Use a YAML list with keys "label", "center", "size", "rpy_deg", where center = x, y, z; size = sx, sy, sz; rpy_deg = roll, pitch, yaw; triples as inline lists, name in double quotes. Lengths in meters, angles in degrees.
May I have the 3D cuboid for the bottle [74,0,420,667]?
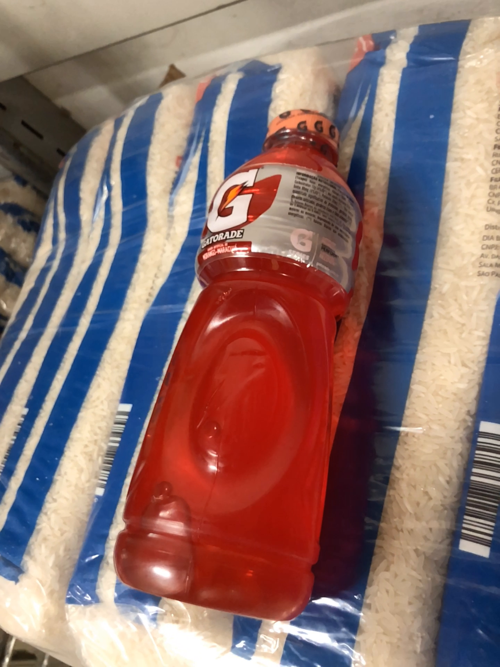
- label: "bottle"
  center: [0.010, -0.006, 0.215]
  size: [0.080, 0.060, 0.220]
  rpy_deg: [-2, 69, 32]
